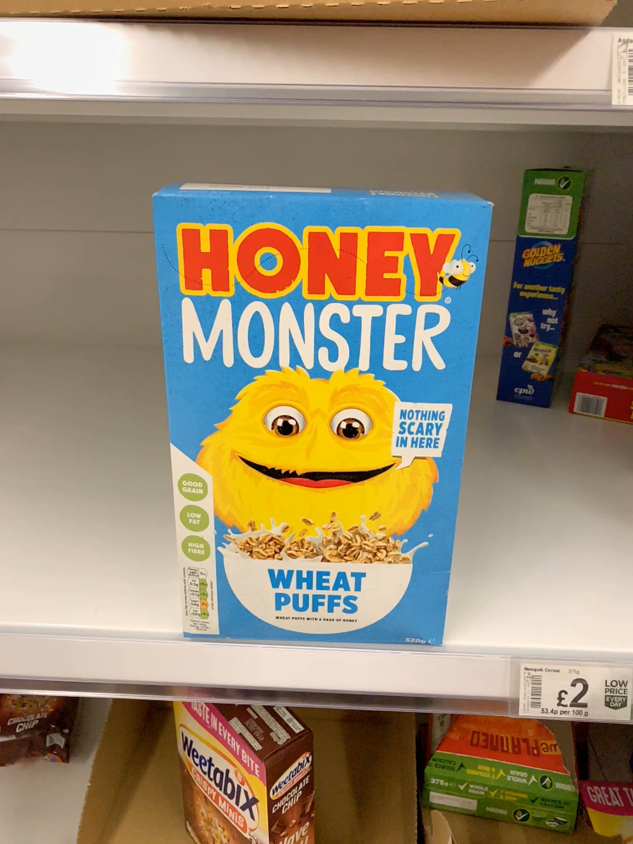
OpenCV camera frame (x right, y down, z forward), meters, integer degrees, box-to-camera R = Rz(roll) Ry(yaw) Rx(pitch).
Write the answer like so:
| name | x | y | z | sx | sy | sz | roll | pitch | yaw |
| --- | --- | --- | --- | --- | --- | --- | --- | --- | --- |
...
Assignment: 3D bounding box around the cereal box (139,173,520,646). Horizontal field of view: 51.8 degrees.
| name | x | y | z | sx | sy | sz | roll | pitch | yaw |
| --- | --- | --- | --- | --- | --- | --- | --- | --- | --- |
| cereal box | 0.005 | -0.005 | 0.439 | 0.200 | 0.298 | 0.091 | 2 | 22 | 2 |
